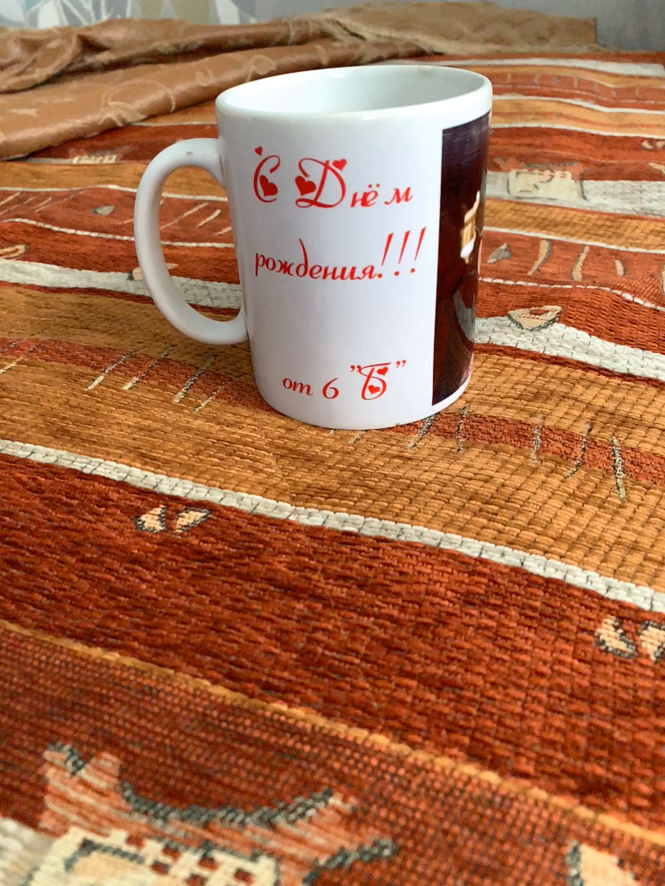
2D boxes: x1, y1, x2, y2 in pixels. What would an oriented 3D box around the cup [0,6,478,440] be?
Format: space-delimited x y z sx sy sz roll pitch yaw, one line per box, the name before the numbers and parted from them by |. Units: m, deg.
cup | -0.022 -0.062 0.188 0.110 0.089 0.081 2 34 7
